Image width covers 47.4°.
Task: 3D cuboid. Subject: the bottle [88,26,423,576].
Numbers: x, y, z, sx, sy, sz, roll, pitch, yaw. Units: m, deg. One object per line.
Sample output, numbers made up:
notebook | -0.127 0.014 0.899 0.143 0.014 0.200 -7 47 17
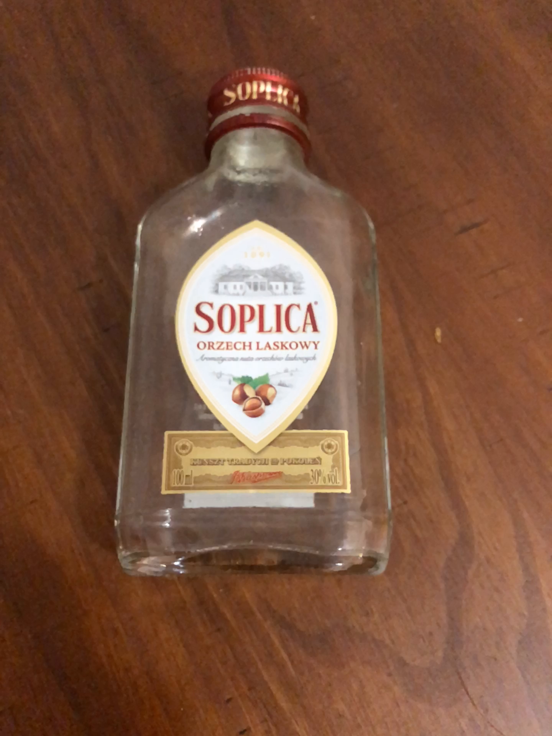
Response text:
bottle | -0.005 -0.023 0.171 0.070 0.030 0.150 0 70 -1
